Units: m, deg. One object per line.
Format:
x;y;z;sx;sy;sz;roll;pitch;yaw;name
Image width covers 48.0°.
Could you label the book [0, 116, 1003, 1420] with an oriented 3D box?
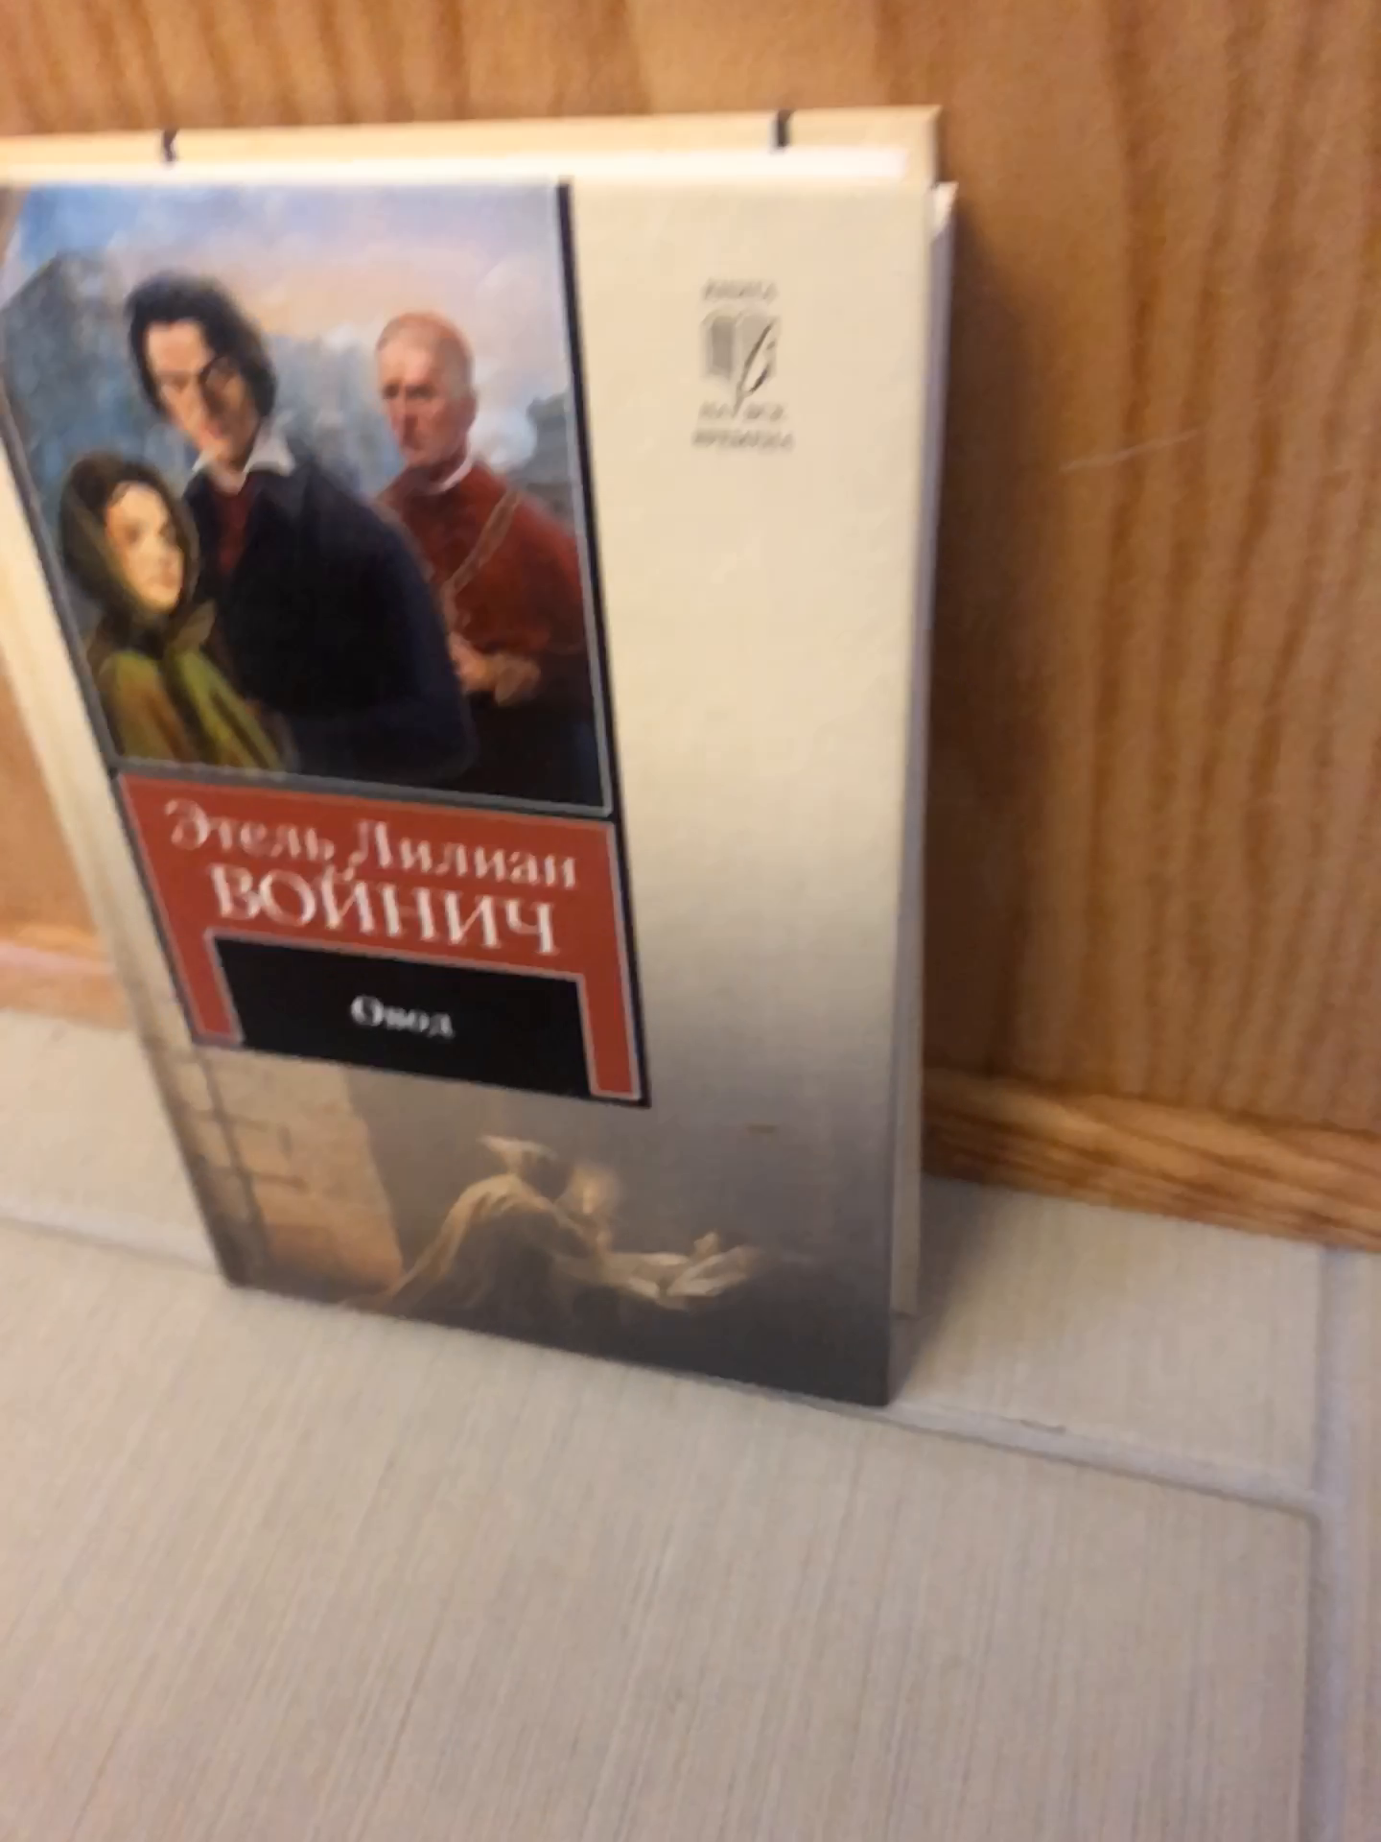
-0.030;-0.010;0.243;0.139;0.202;0.030;7;38;15;book
